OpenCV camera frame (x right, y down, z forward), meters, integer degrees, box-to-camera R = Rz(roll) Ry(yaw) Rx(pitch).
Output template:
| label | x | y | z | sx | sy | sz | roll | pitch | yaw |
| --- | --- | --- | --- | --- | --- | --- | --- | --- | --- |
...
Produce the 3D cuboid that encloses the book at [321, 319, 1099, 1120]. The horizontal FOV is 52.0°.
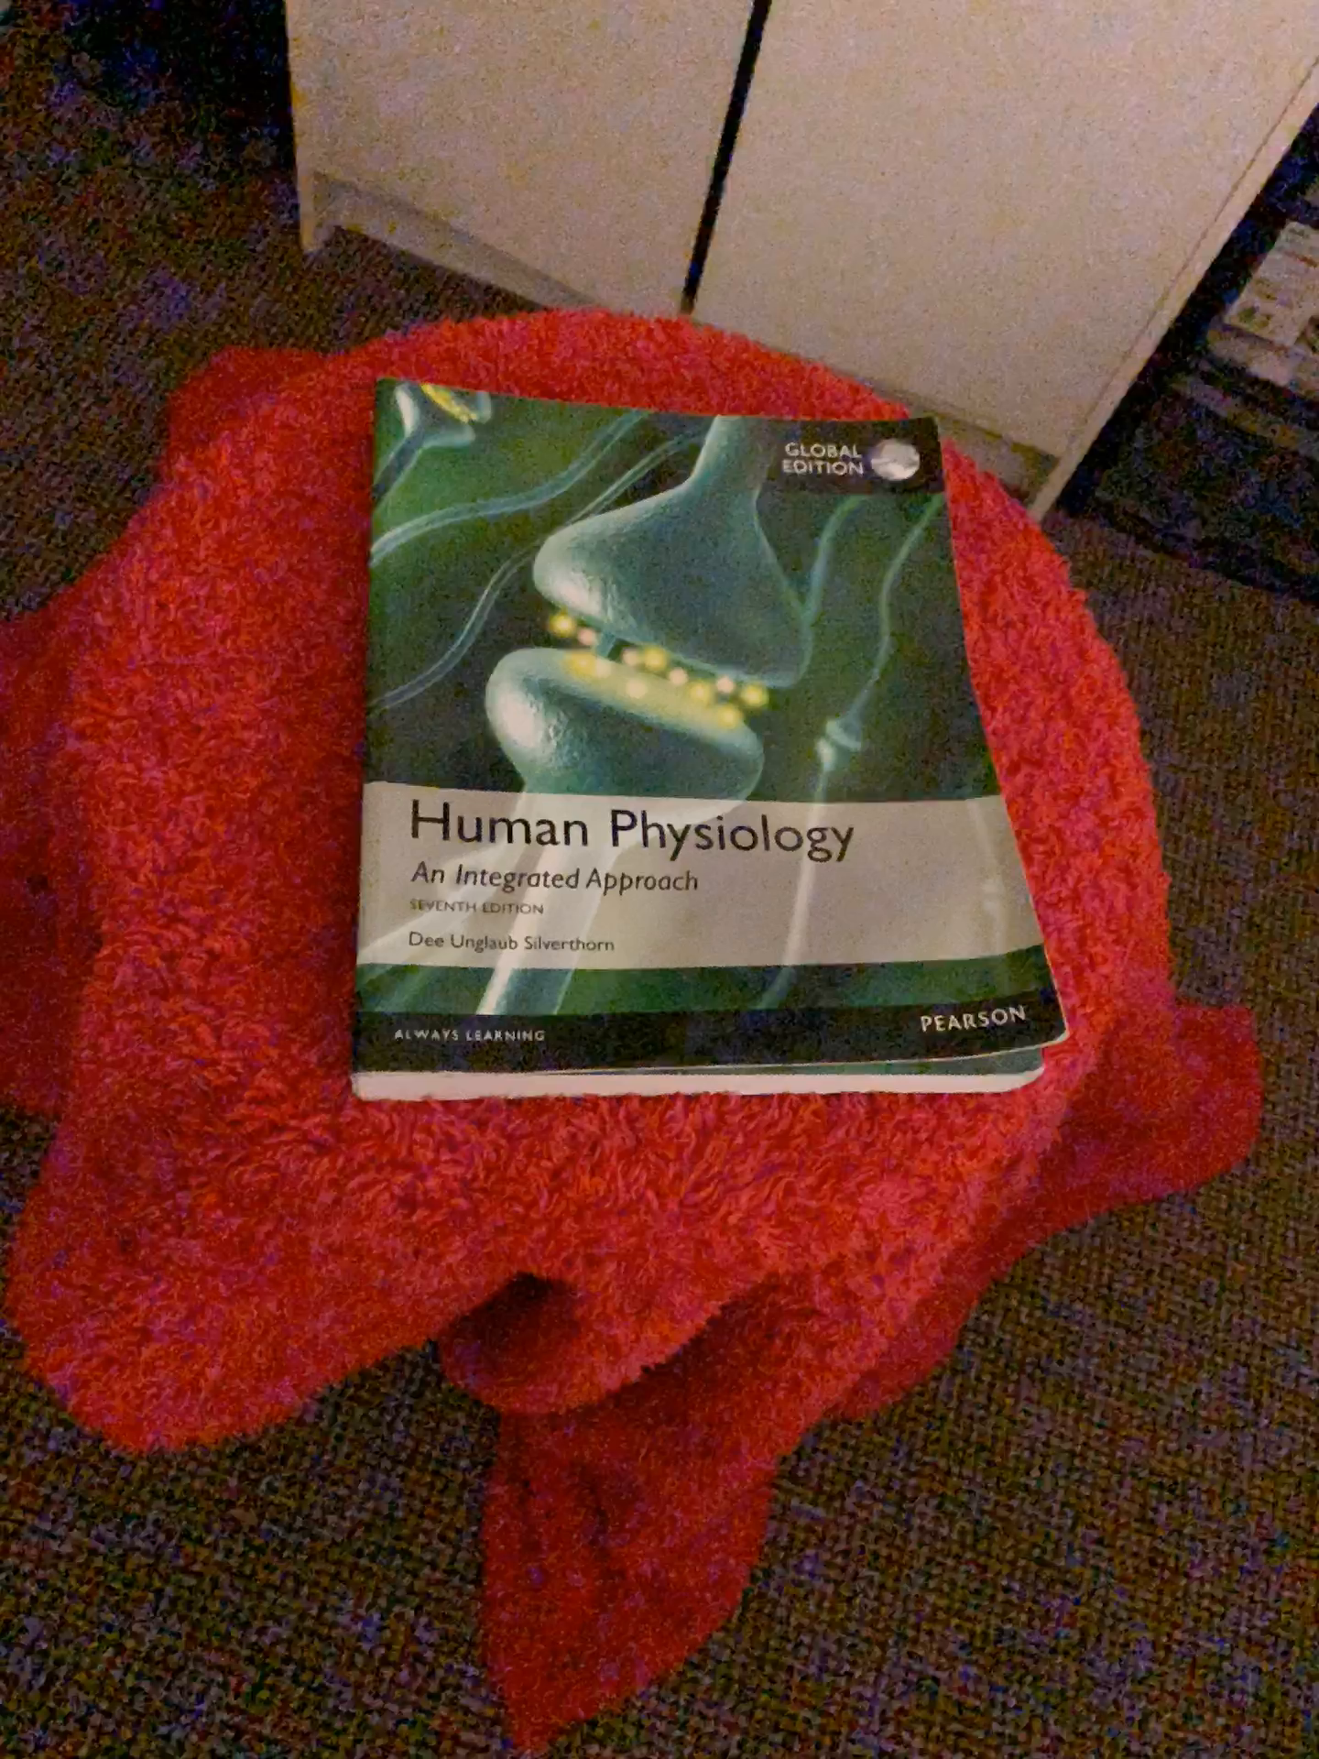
| label | x | y | z | sx | sy | sz | roll | pitch | yaw |
| --- | --- | --- | --- | --- | --- | --- | --- | --- | --- |
| book | 0.007 | -0.066 | 0.519 | 0.250 | 0.070 | 0.301 | 1 | 64 | -11 |
